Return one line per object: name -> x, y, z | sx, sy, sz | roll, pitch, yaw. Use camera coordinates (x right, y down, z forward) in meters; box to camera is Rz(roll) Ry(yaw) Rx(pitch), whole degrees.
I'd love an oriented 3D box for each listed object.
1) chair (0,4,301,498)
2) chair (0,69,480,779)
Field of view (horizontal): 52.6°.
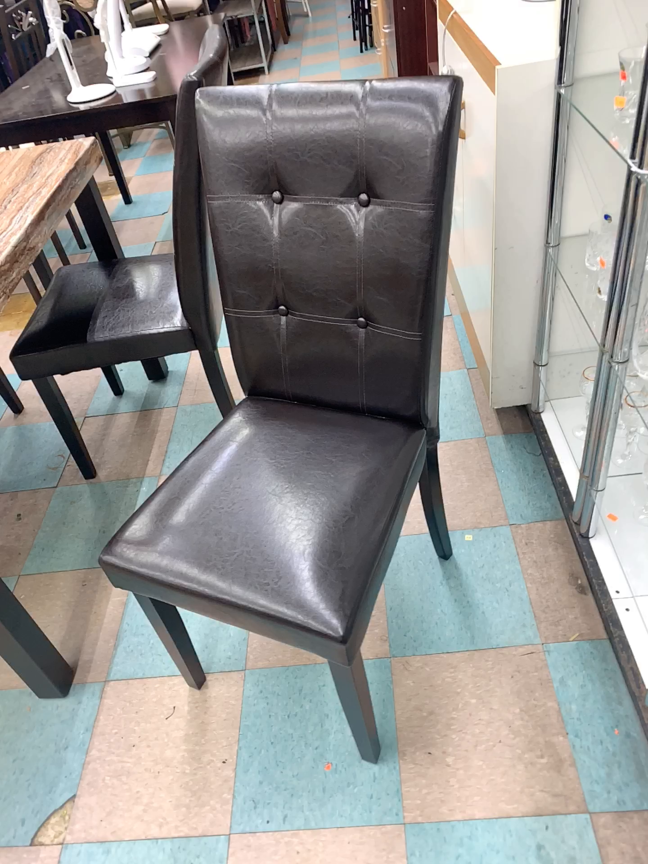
chair -> -0.476, -0.442, 1.715 | 0.650, 0.955, 0.674 | -9, 41, 4
chair -> -0.053, 0.019, 1.093 | 0.471, 0.955, 0.572 | 11, 47, 25
